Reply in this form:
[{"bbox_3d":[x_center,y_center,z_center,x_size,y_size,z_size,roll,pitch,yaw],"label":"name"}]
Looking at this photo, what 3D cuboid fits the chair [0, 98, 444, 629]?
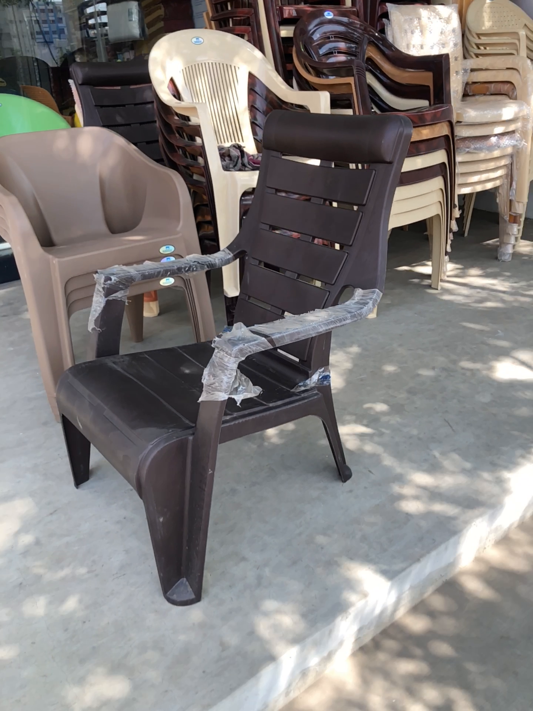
[{"bbox_3d":[-0.132,-0.098,1.378,0.763,0.876,0.681,-21,30,-32],"label":"chair"}]
